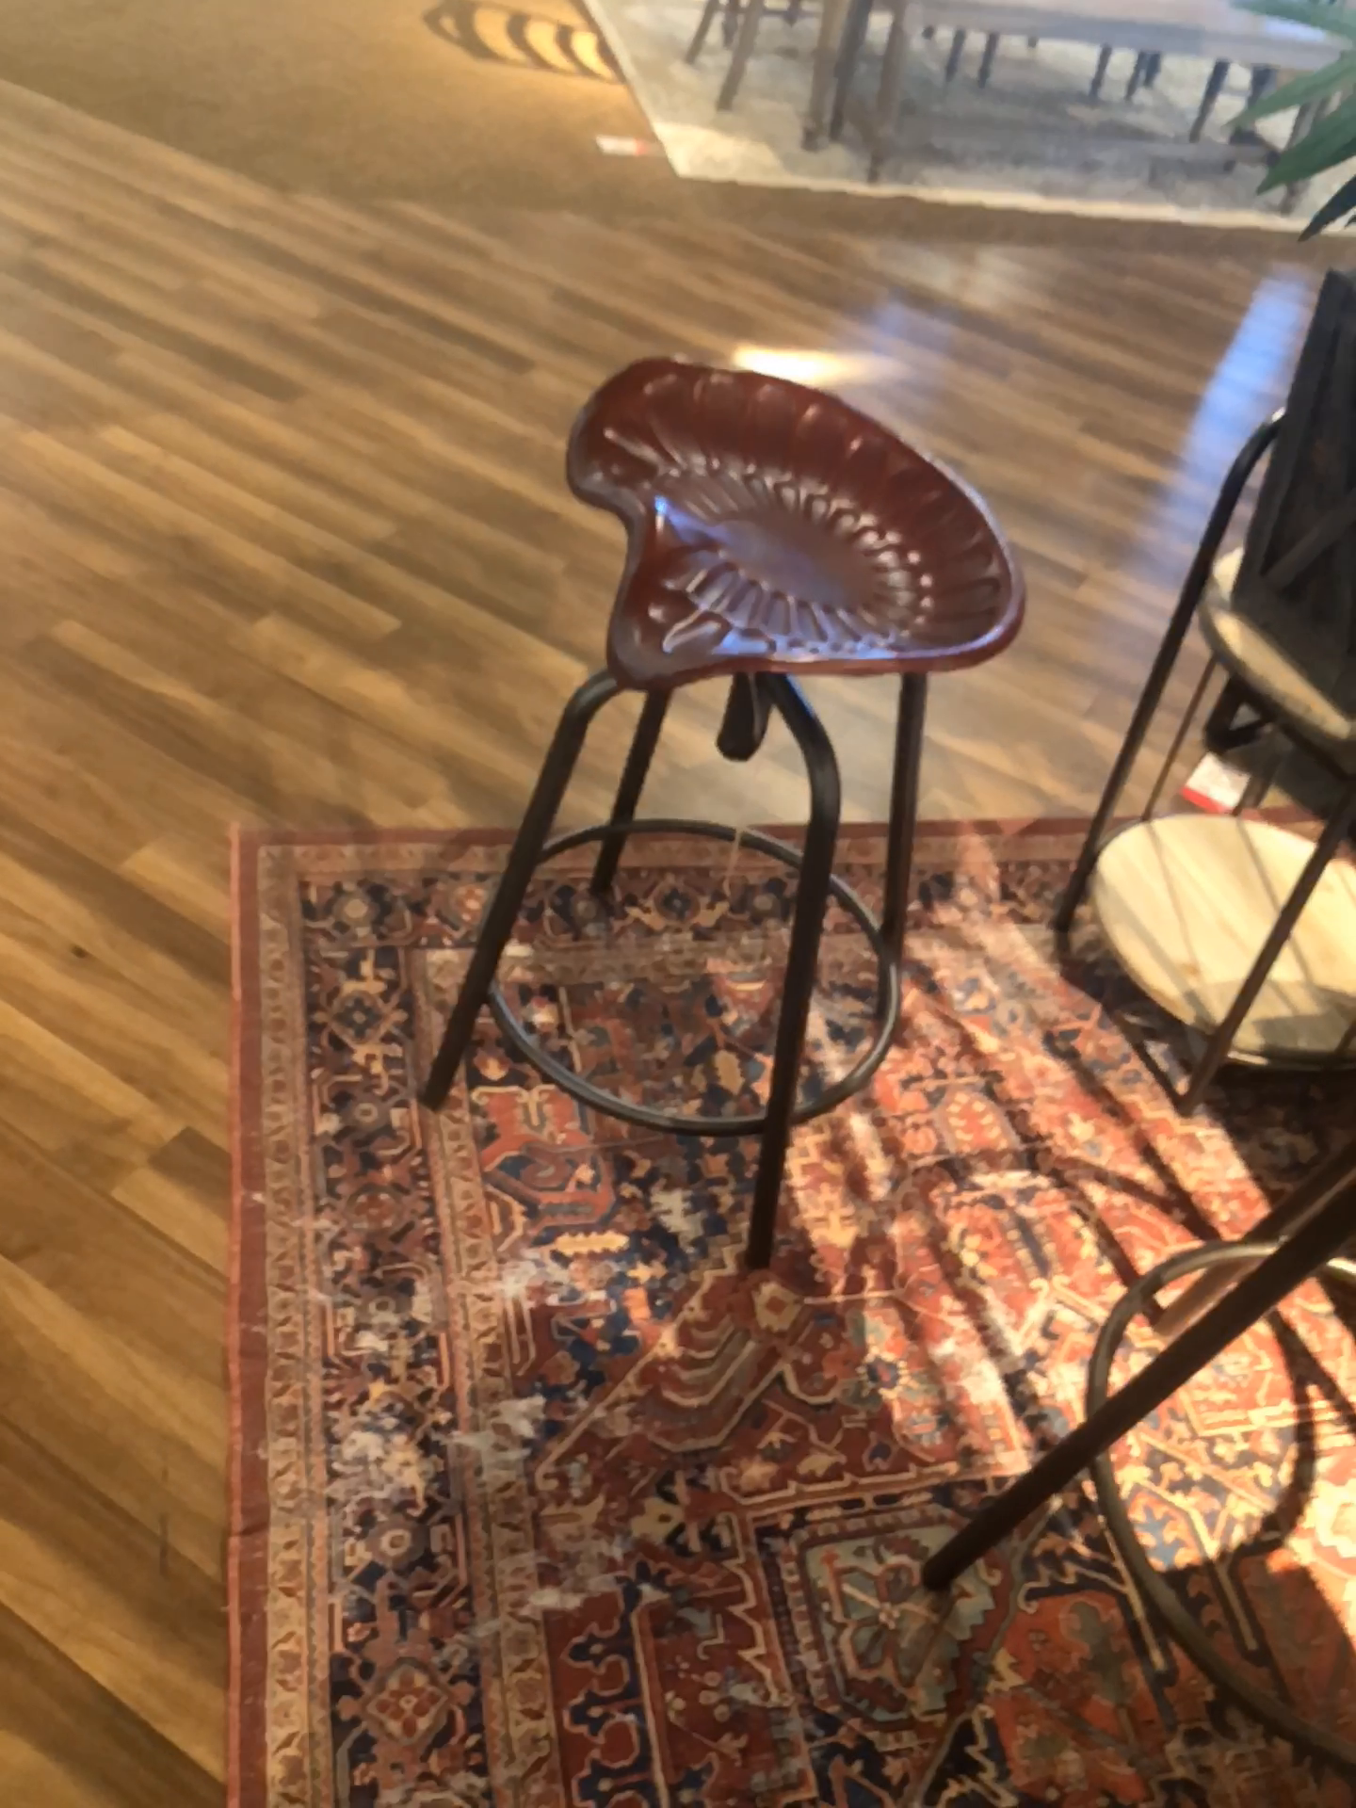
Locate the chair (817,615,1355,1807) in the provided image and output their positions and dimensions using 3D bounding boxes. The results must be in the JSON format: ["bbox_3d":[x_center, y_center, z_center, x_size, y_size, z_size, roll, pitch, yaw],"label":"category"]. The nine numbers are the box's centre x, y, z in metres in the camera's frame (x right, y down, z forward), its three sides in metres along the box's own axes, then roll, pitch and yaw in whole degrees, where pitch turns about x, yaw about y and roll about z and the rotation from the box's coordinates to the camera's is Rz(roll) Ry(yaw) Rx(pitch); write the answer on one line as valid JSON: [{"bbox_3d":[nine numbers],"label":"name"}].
[{"bbox_3d":[0.568,0.352,0.975,0.611,0.736,0.539,38,49,25],"label":"chair"}]

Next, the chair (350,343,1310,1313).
[{"bbox_3d":[0.044,-0.089,1.396,0.610,0.627,0.569,-6,46,-18],"label":"chair"}]
